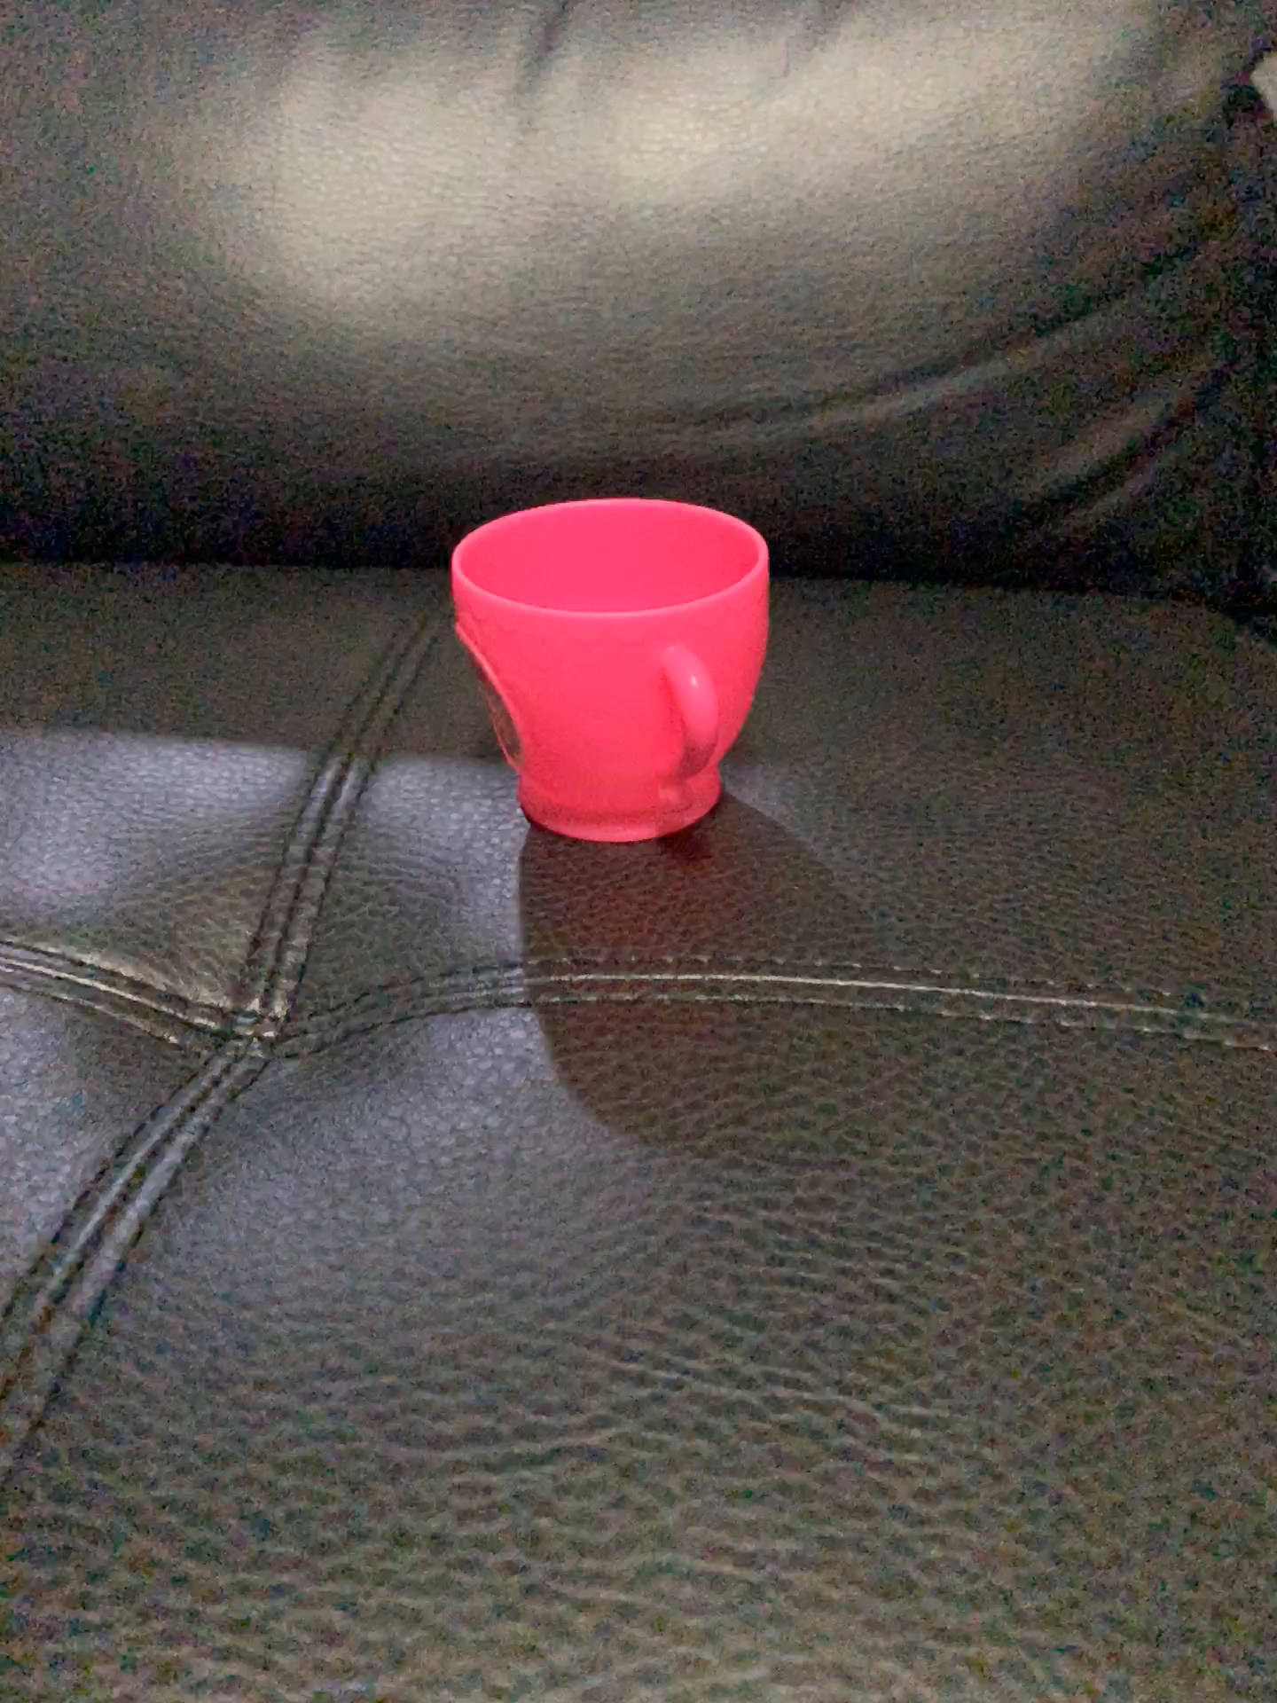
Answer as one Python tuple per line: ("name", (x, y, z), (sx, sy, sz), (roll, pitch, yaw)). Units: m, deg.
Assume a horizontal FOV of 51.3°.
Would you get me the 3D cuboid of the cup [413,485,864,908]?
("cup", (-0.003, -0.034, 0.251), (0.061, 0.047, 0.073), (-10, 31, -16))
